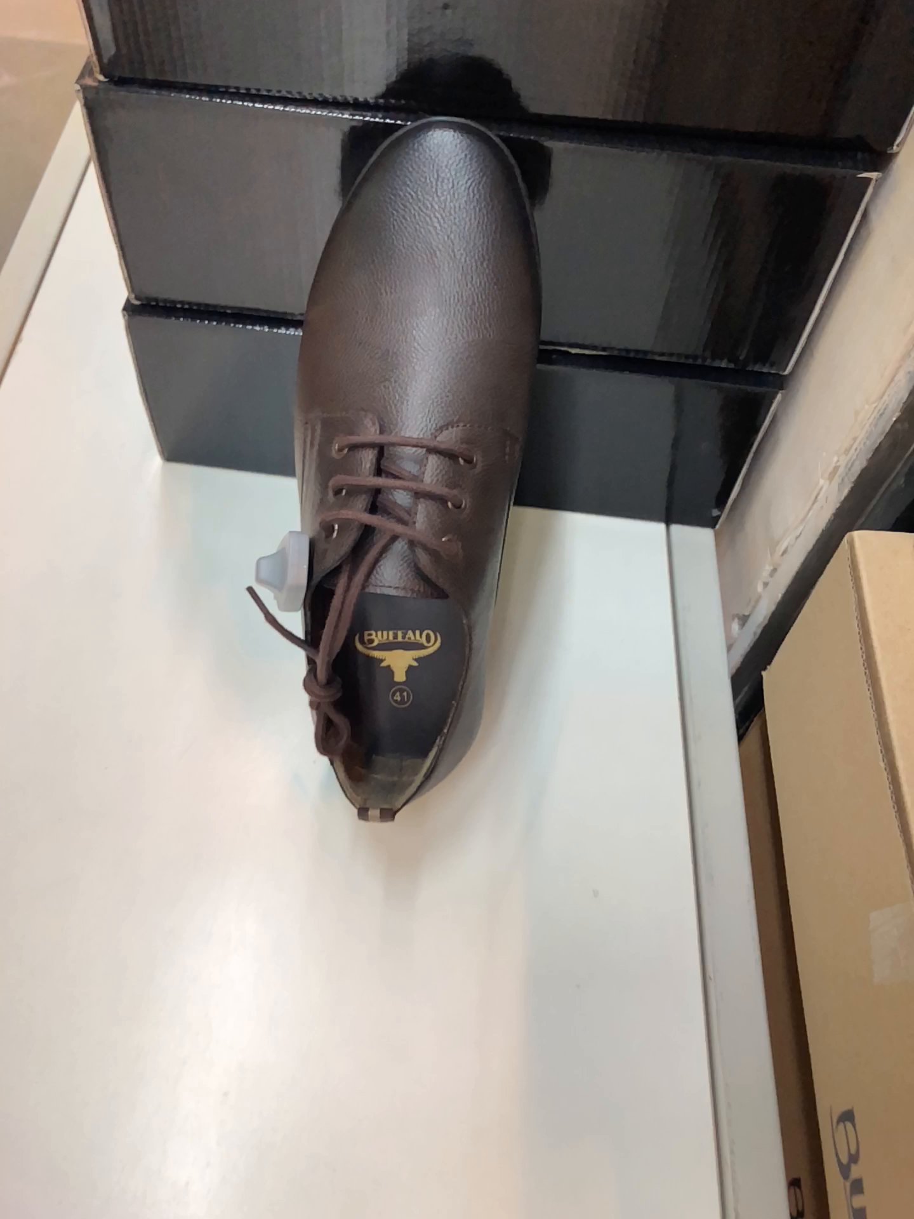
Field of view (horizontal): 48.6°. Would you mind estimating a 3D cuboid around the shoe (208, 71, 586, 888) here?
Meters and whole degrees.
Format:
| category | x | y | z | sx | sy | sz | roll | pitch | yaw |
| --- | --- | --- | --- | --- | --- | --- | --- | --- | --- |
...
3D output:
| category | x | y | z | sx | sy | sz | roll | pitch | yaw |
| --- | --- | --- | --- | --- | --- | --- | --- | --- | --- |
| shoe | -0.019 | -0.048 | 0.406 | 0.111 | 0.271 | 0.116 | 6 | 11 | 6 |
